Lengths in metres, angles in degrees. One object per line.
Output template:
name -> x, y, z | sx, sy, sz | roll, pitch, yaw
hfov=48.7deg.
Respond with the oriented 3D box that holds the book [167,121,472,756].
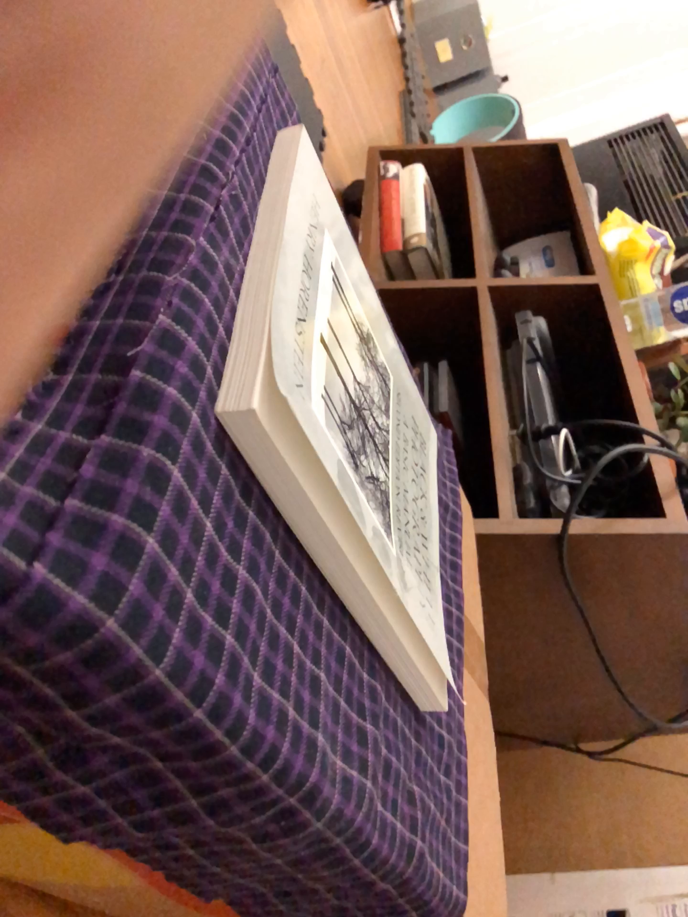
book -> 0.011, -0.002, 0.385 | 0.250, 0.030, 0.211 | 60, 24, -43
